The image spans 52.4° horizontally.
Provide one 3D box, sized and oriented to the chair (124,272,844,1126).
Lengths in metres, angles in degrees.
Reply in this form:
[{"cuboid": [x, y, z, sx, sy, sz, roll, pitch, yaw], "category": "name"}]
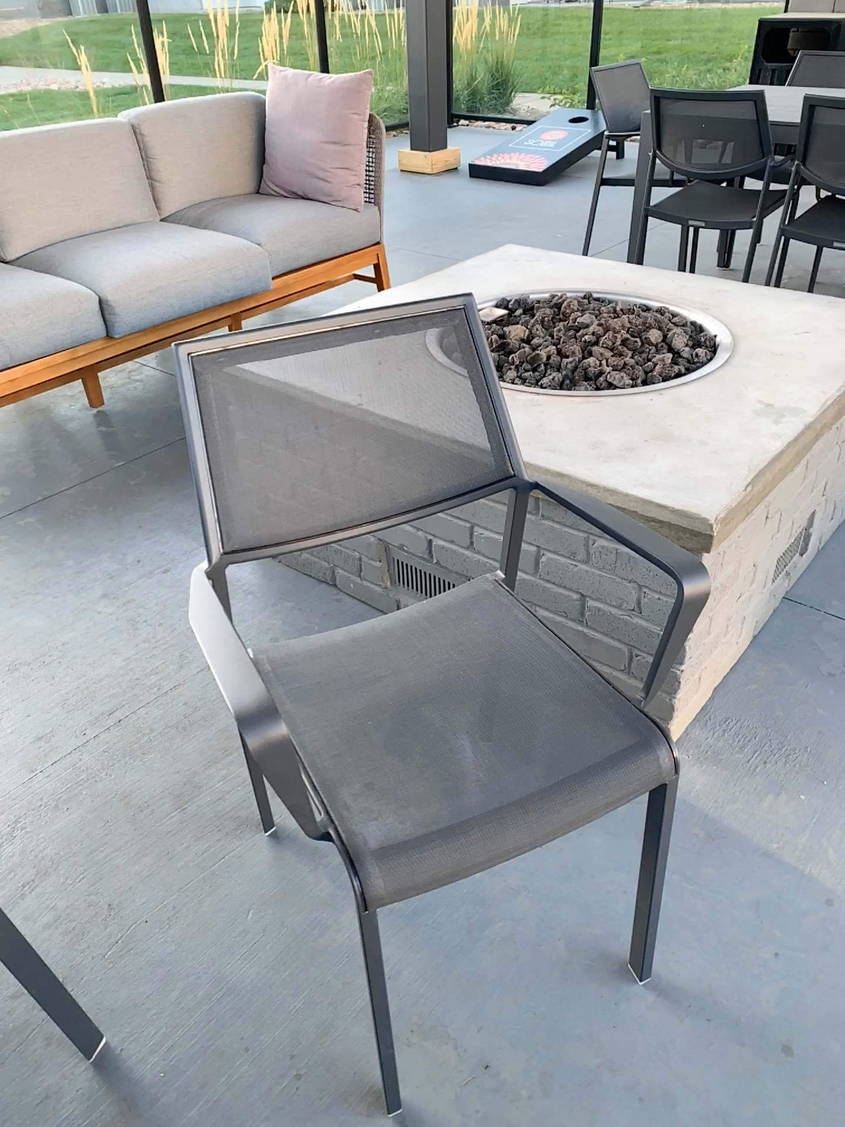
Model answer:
[{"cuboid": [0.020, 0.145, 1.110, 0.510, 0.806, 0.613, -17, 36, -20], "category": "chair"}]
